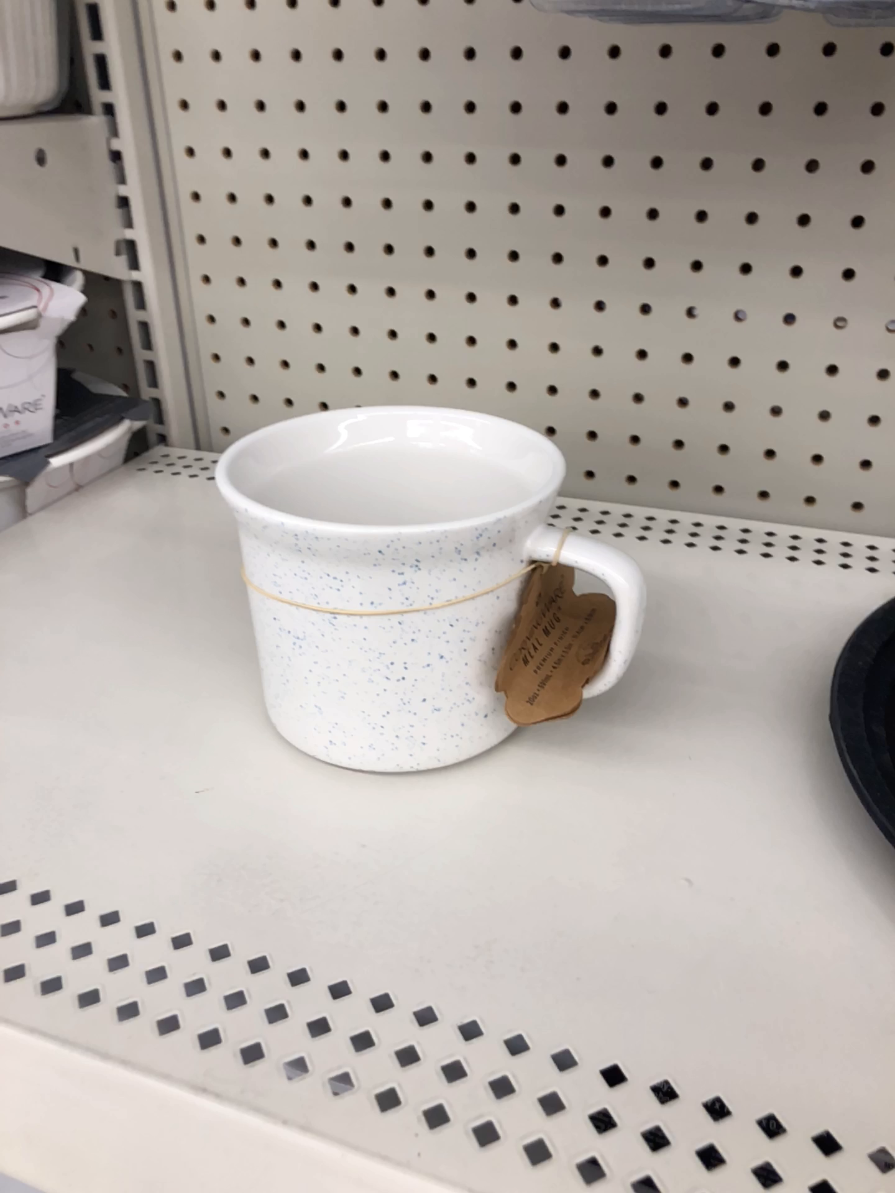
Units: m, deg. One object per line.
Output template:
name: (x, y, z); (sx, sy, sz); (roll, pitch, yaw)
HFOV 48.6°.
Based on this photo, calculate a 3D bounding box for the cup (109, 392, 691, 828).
cup: (-0.008, -0.005, 0.334); (0.159, 0.090, 0.102); (7, 29, 15)
